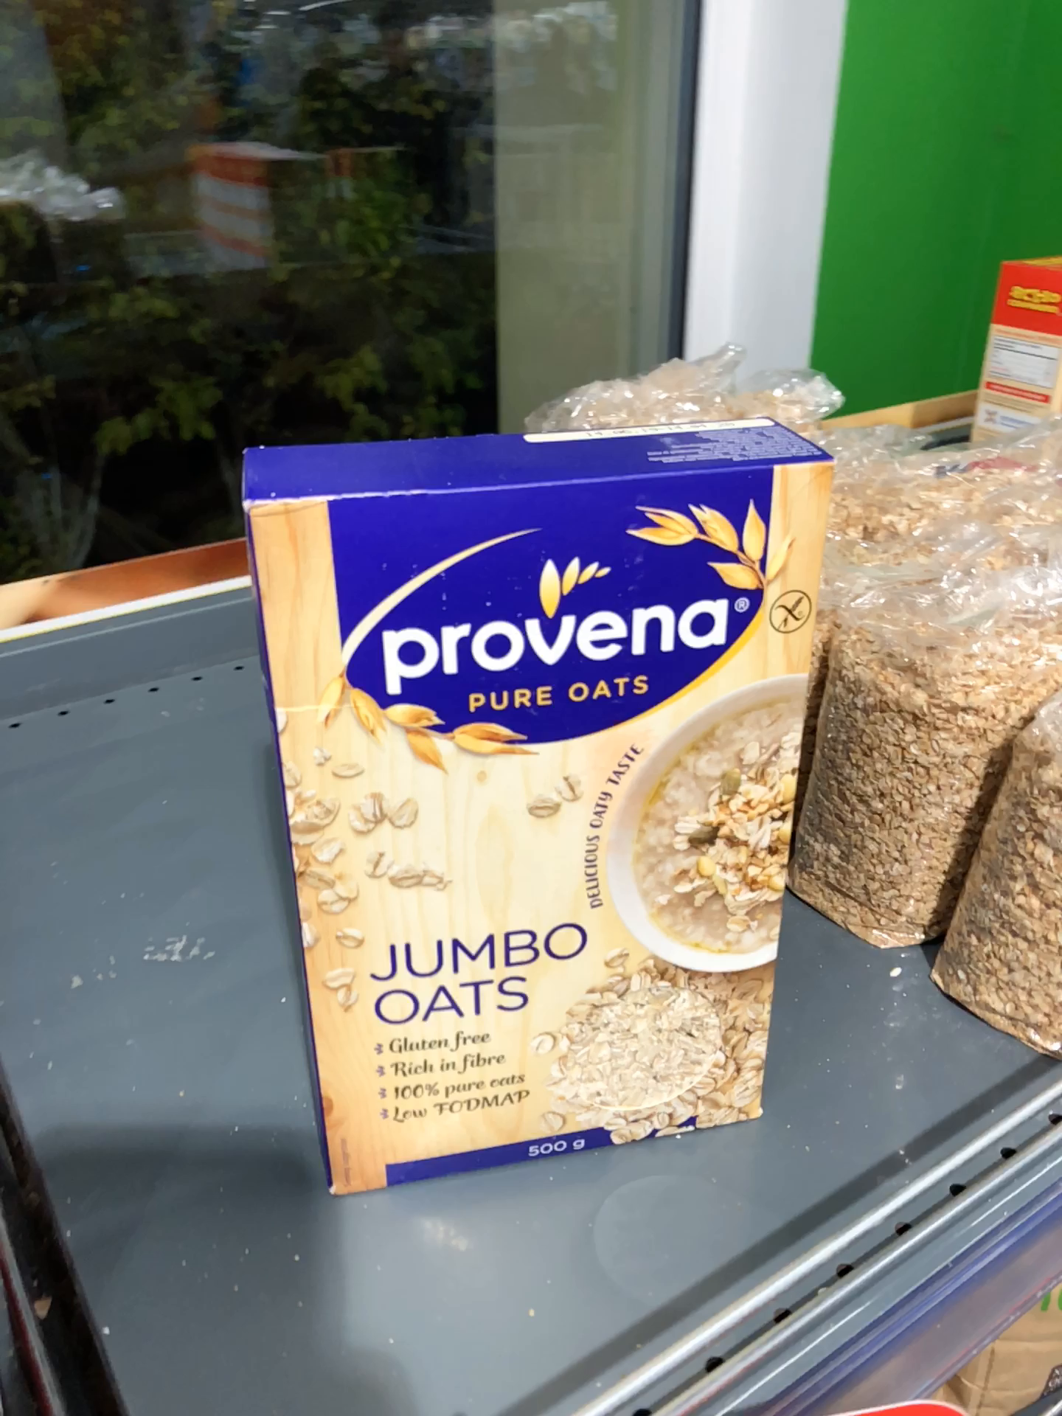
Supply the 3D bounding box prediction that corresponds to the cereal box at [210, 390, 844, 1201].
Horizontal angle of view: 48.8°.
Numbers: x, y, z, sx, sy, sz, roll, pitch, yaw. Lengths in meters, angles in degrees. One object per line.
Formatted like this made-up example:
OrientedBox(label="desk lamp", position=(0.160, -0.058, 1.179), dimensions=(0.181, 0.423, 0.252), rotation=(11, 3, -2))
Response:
OrientedBox(label="cereal box", position=(-0.002, 0.031, 0.344), dimensions=(0.150, 0.229, 0.050), rotation=(-6, 27, -11))
